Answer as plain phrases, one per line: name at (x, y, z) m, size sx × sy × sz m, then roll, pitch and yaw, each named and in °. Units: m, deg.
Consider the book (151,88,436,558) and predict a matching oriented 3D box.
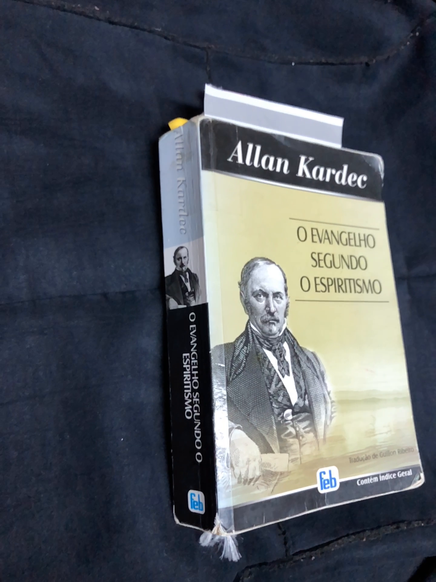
book at (0.047, 0.011, 0.284) m, size 0.150 × 0.050 × 0.220 m, roll 0°, pitch 79°, yaw -28°
